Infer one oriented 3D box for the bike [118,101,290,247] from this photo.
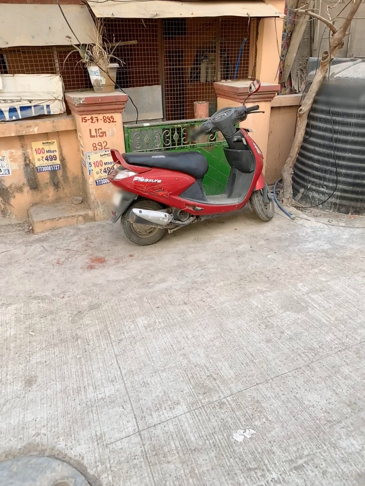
[{"bbox_3d":[0.194,-0.655,3.181,1.272,0.916,0.620,-16,31,-27],"label":"bike"}]
